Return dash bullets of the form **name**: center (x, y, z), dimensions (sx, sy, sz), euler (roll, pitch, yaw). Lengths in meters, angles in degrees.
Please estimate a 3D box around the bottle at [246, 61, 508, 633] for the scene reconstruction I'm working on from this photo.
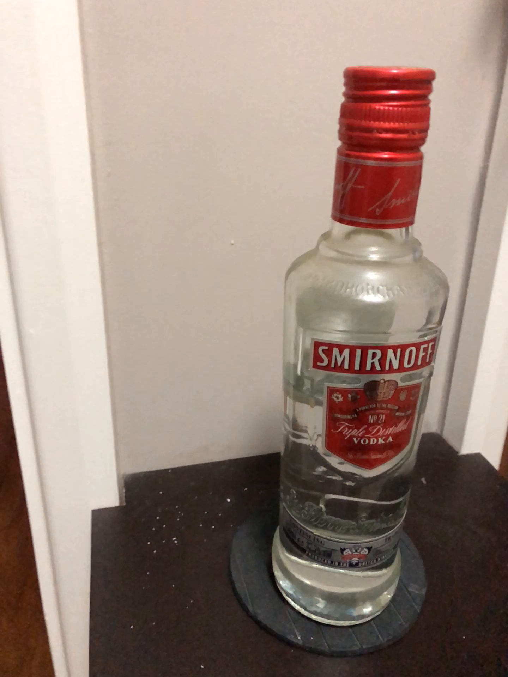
- **bottle**: center (0.038, 0.009, 0.233), dimensions (0.070, 0.219, 0.070), euler (1, 23, -1)
